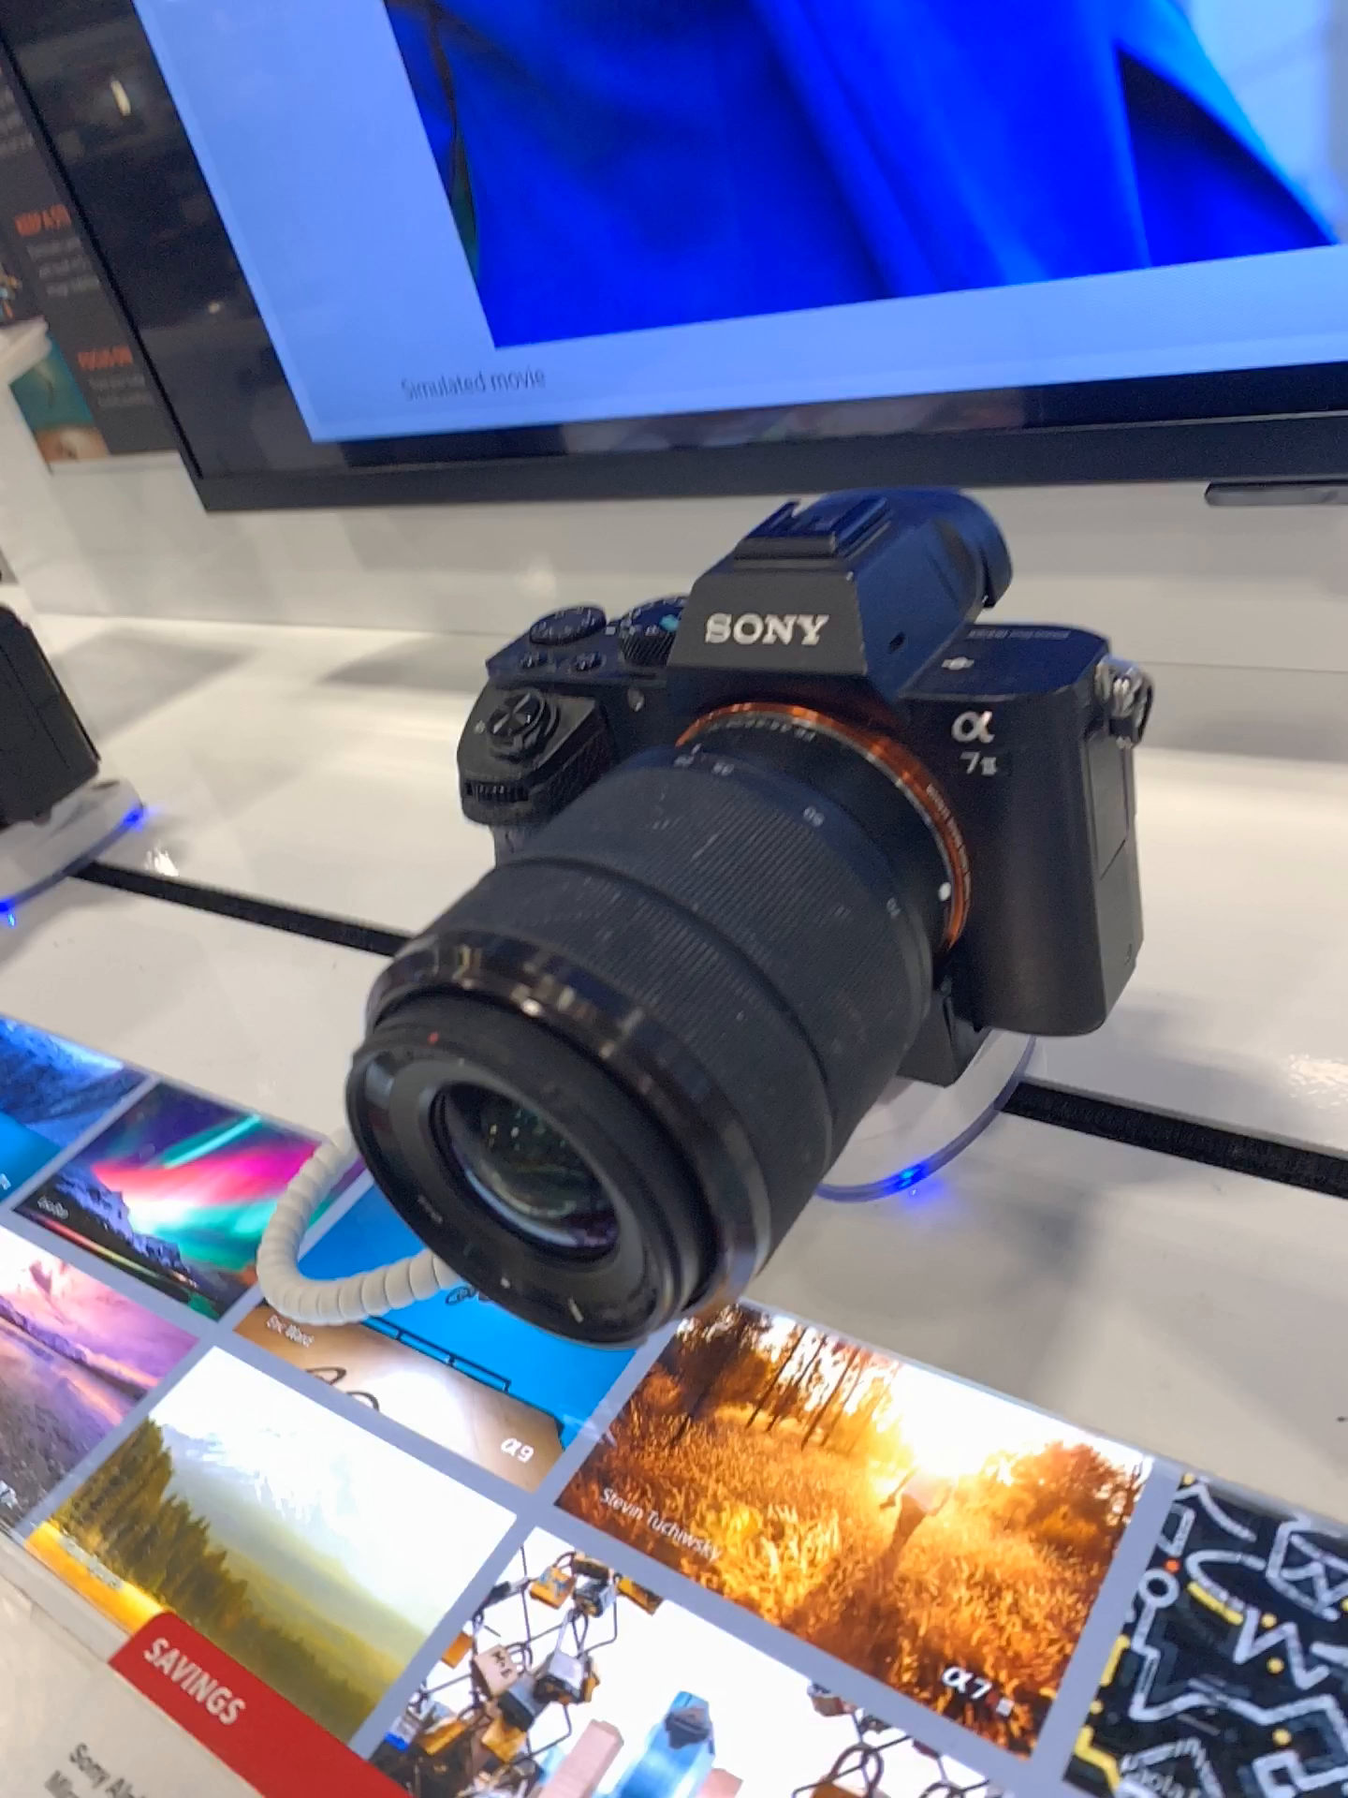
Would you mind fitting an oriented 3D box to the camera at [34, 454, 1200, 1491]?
[{"bbox_3d":[0.002,-0.006,0.249,0.128,0.084,0.150,9,41,37],"label":"camera"}]
